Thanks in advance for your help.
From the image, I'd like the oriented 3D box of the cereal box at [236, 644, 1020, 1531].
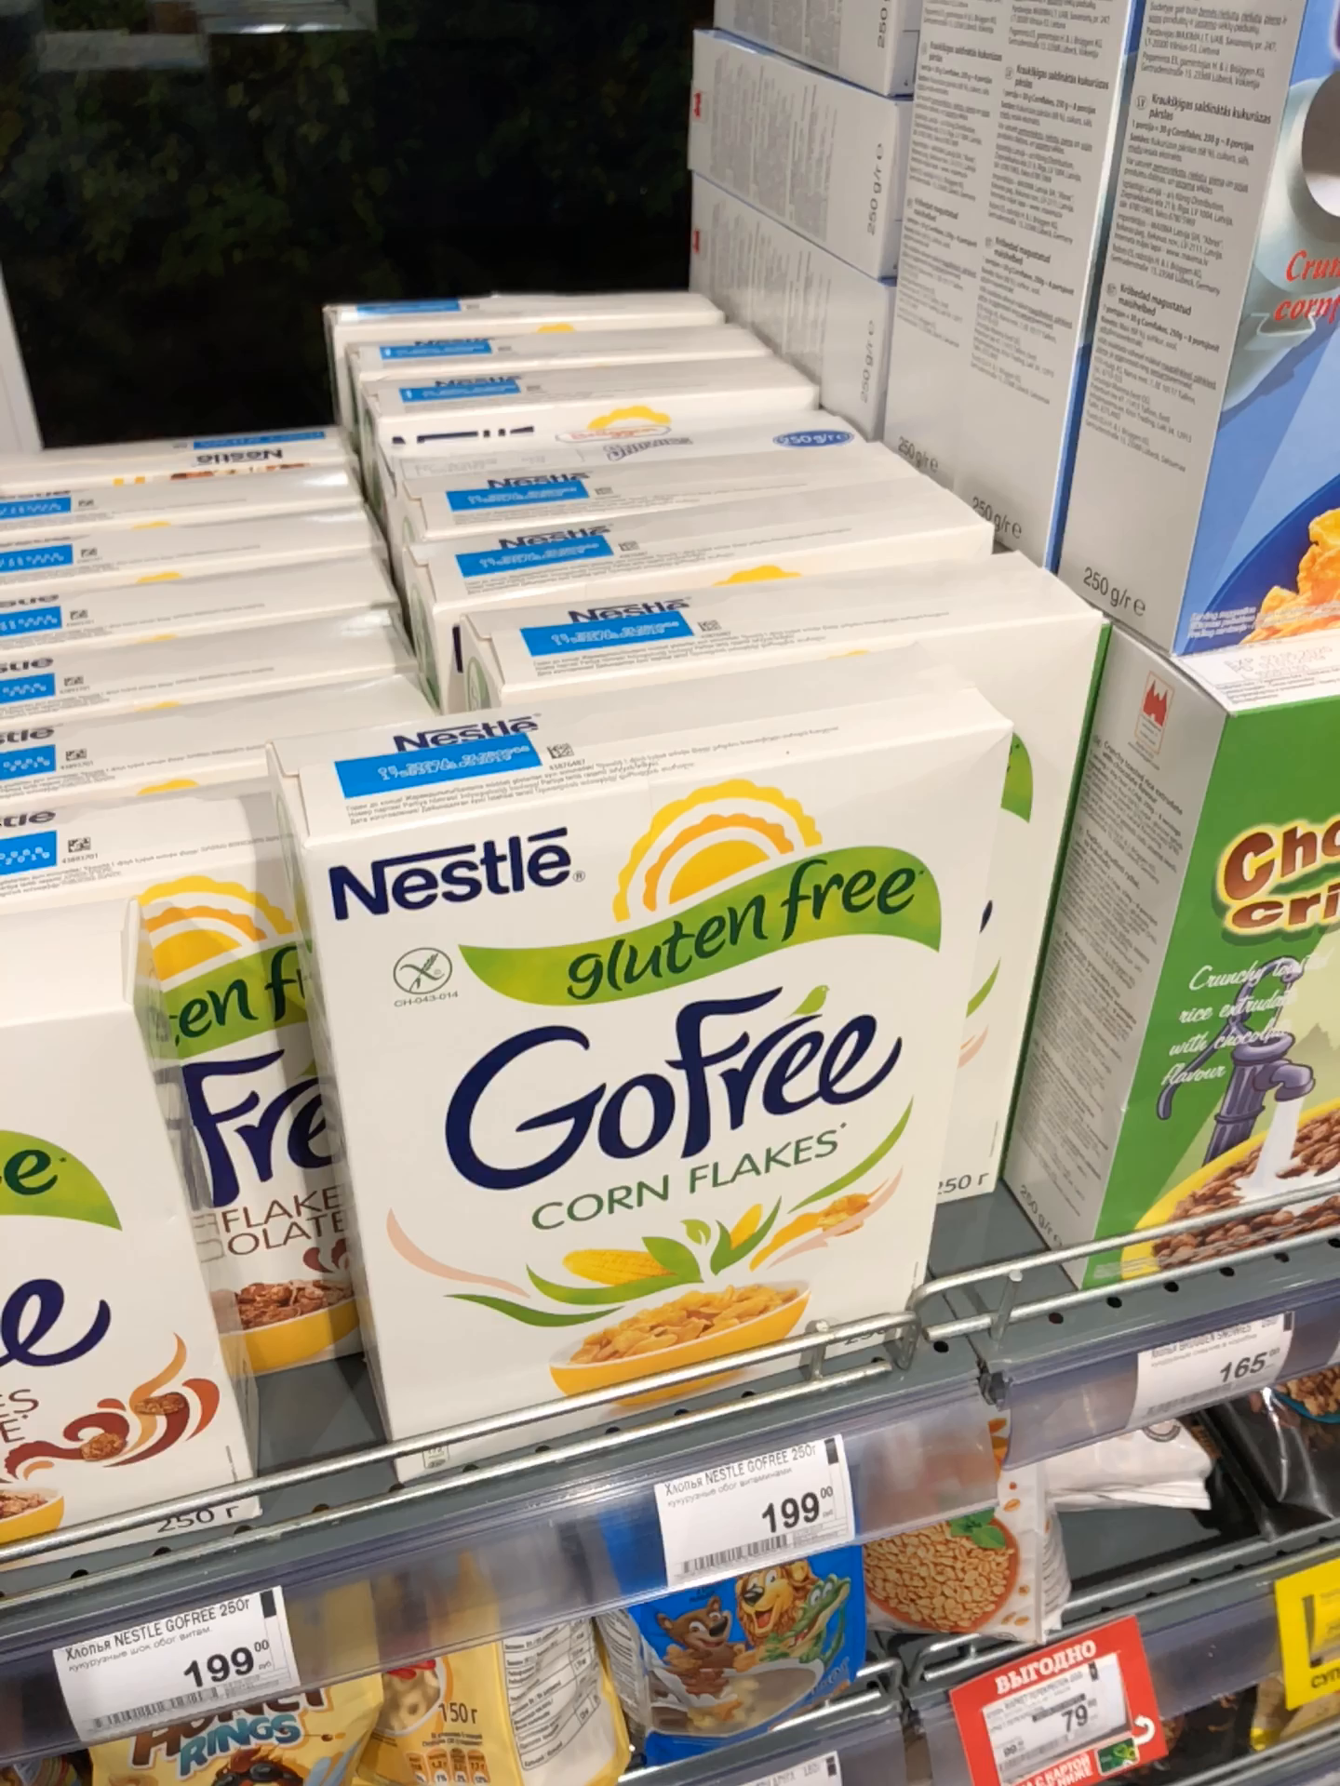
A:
[{"bbox_3d":[-0.011,0.065,0.447,0.190,0.248,0.060,-12,37,-17],"label":"cereal box"}]
